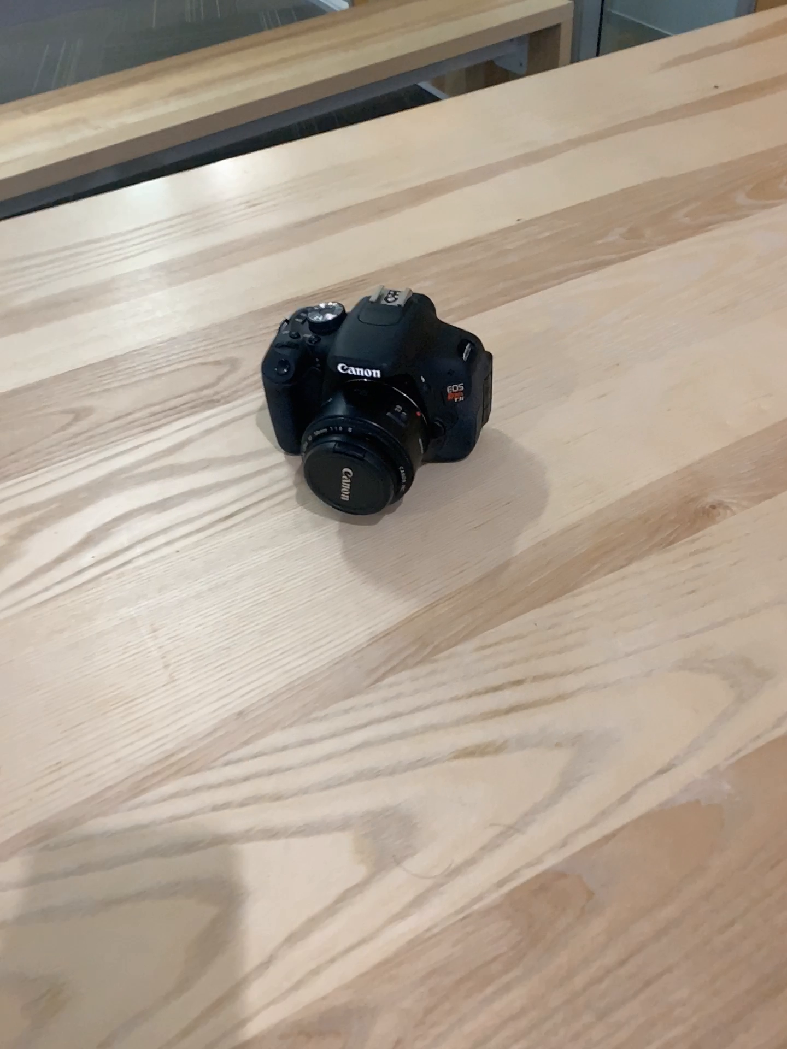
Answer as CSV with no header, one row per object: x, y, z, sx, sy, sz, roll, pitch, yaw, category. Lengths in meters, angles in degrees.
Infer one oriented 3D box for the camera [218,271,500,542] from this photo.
-0.012,-0.076,0.491,0.127,0.089,0.127,10,49,15,camera
